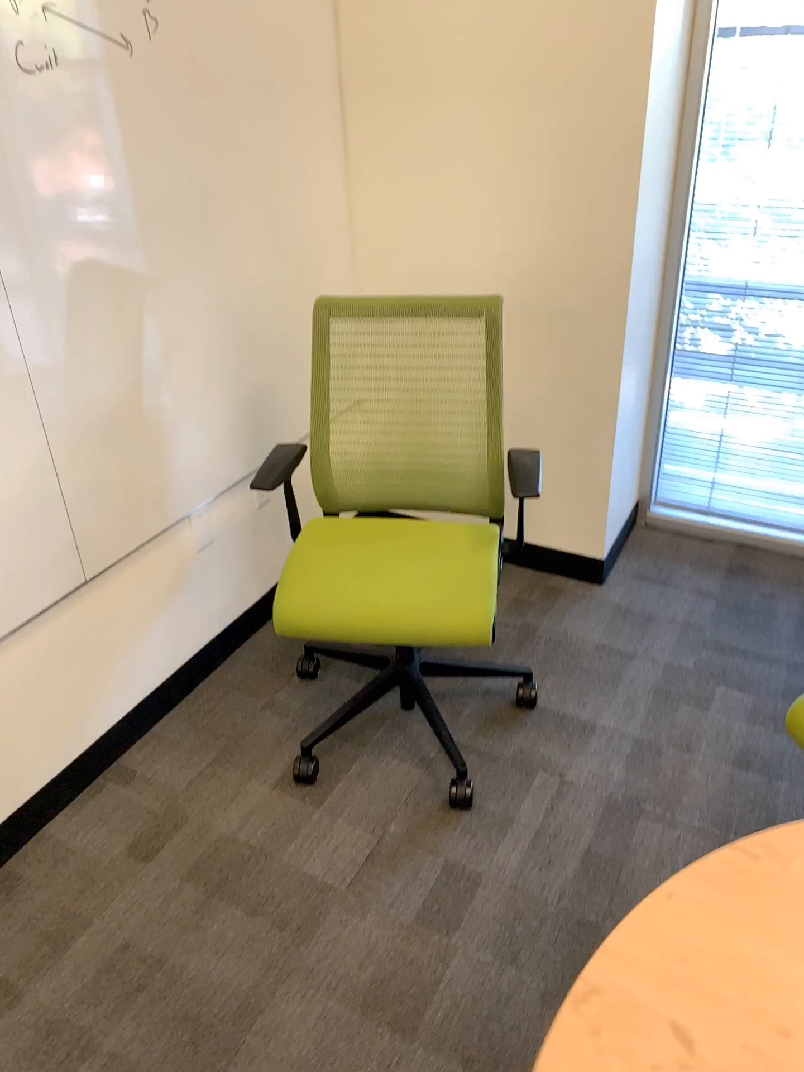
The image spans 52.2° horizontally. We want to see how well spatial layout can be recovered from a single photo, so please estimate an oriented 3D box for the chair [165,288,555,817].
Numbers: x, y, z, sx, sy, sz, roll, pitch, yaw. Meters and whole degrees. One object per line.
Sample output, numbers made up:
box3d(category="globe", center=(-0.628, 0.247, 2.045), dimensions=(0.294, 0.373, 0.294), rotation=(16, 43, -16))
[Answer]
box3d(category="chair", center=(-0.002, -0.011, 2.063), dimensions=(0.701, 0.994, 0.844), rotation=(3, 31, 10))
